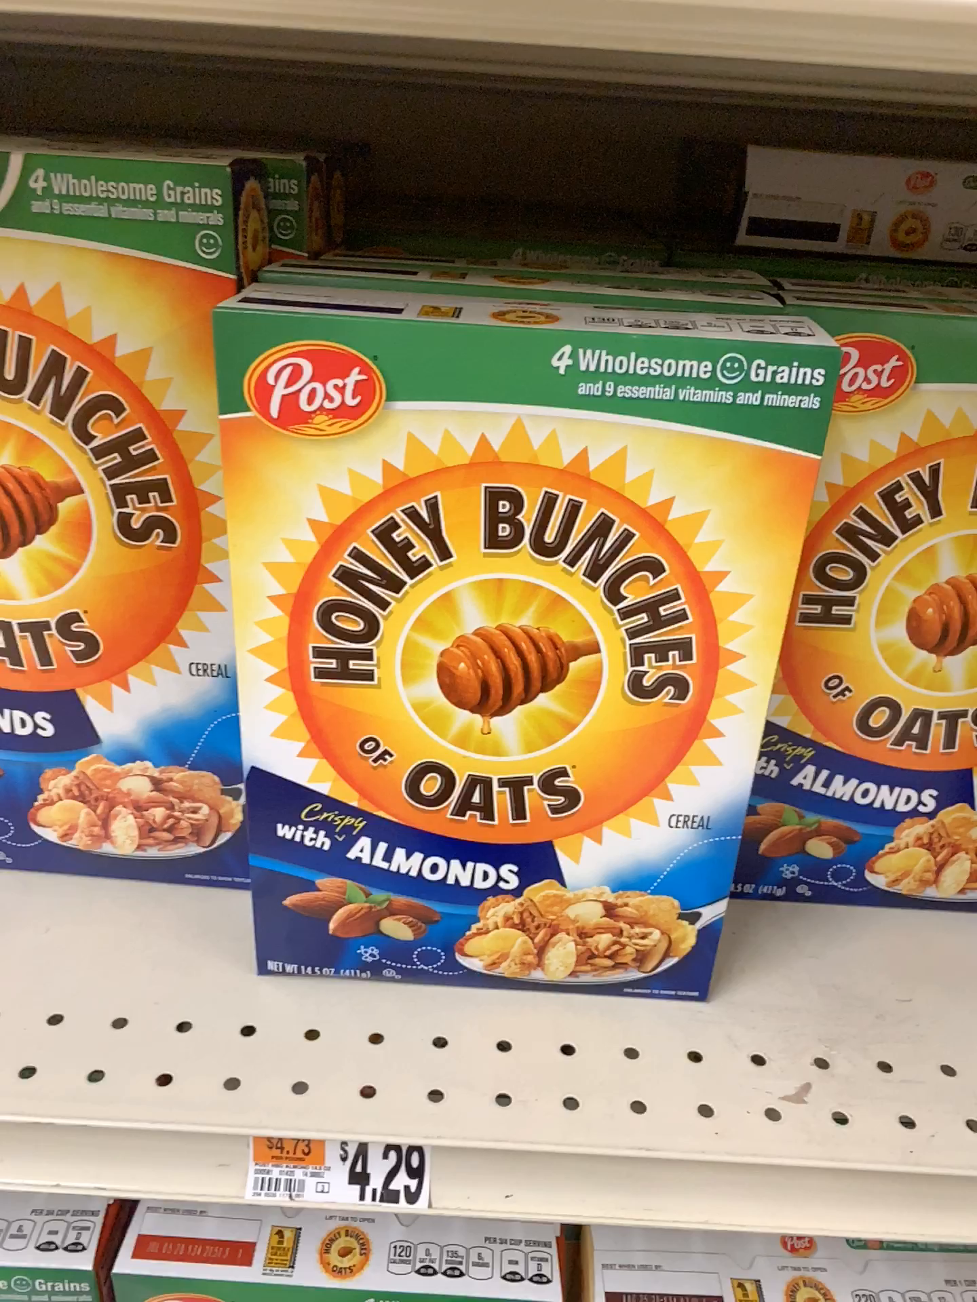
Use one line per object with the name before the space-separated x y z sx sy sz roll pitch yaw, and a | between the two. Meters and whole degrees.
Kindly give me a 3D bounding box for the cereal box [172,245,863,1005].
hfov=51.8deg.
cereal box | 0.002 0.004 0.382 0.200 0.278 0.060 4 28 0
